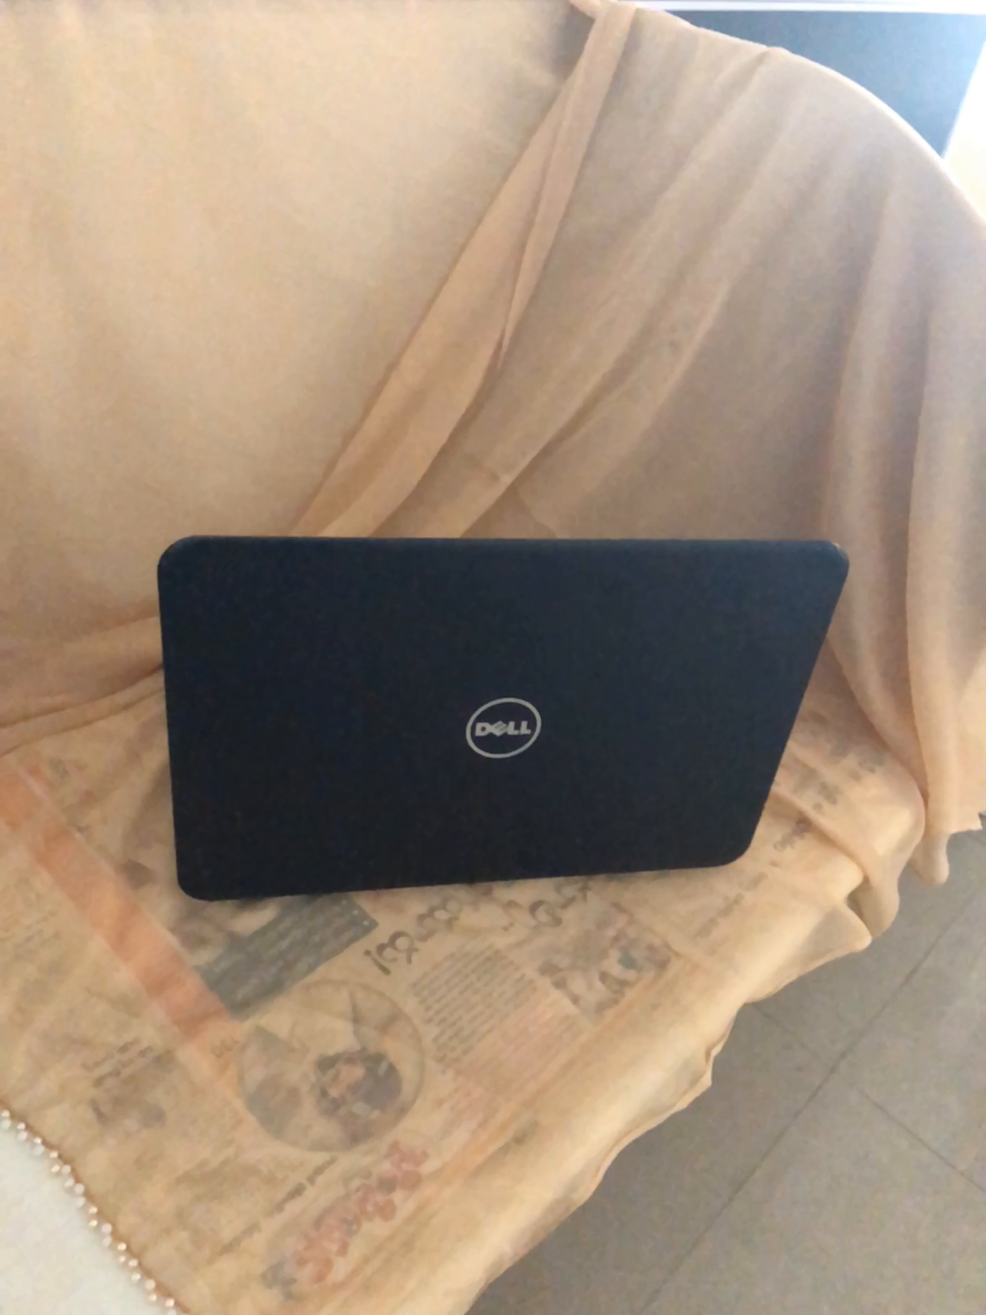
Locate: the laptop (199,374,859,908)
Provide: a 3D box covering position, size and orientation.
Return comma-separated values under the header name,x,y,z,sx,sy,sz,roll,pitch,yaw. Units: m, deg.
name,x,y,z,sx,sy,sz,roll,pitch,yaw
laptop,-0.015,-0.023,0.710,0.332,0.237,0.258,-2,37,-13
